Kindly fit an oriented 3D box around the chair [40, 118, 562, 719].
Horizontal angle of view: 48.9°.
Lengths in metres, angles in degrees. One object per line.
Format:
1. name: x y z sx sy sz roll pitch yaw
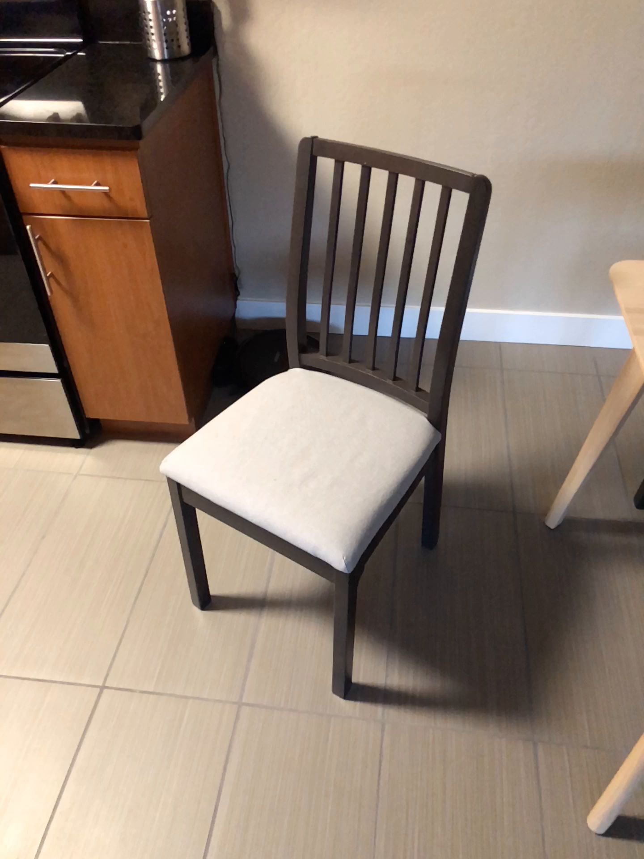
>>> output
1. chair: -0.005 -0.034 1.383 0.581 0.846 0.592 24 47 26
